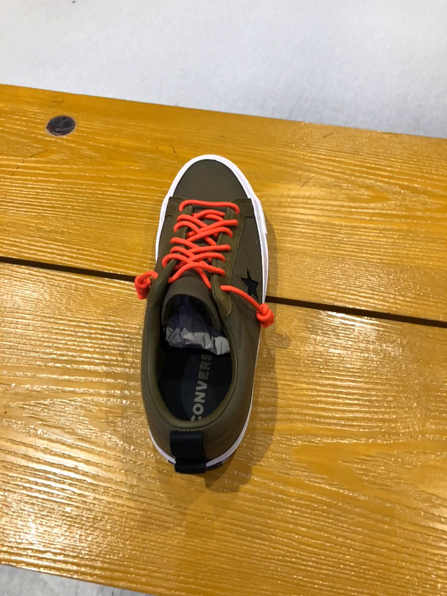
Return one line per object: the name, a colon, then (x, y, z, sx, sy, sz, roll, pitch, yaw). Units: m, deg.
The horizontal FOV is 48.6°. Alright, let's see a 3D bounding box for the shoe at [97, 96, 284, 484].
shoe: (-0.013, -0.018, 0.389, 0.105, 0.097, 0.293, 2, 61, 1)
